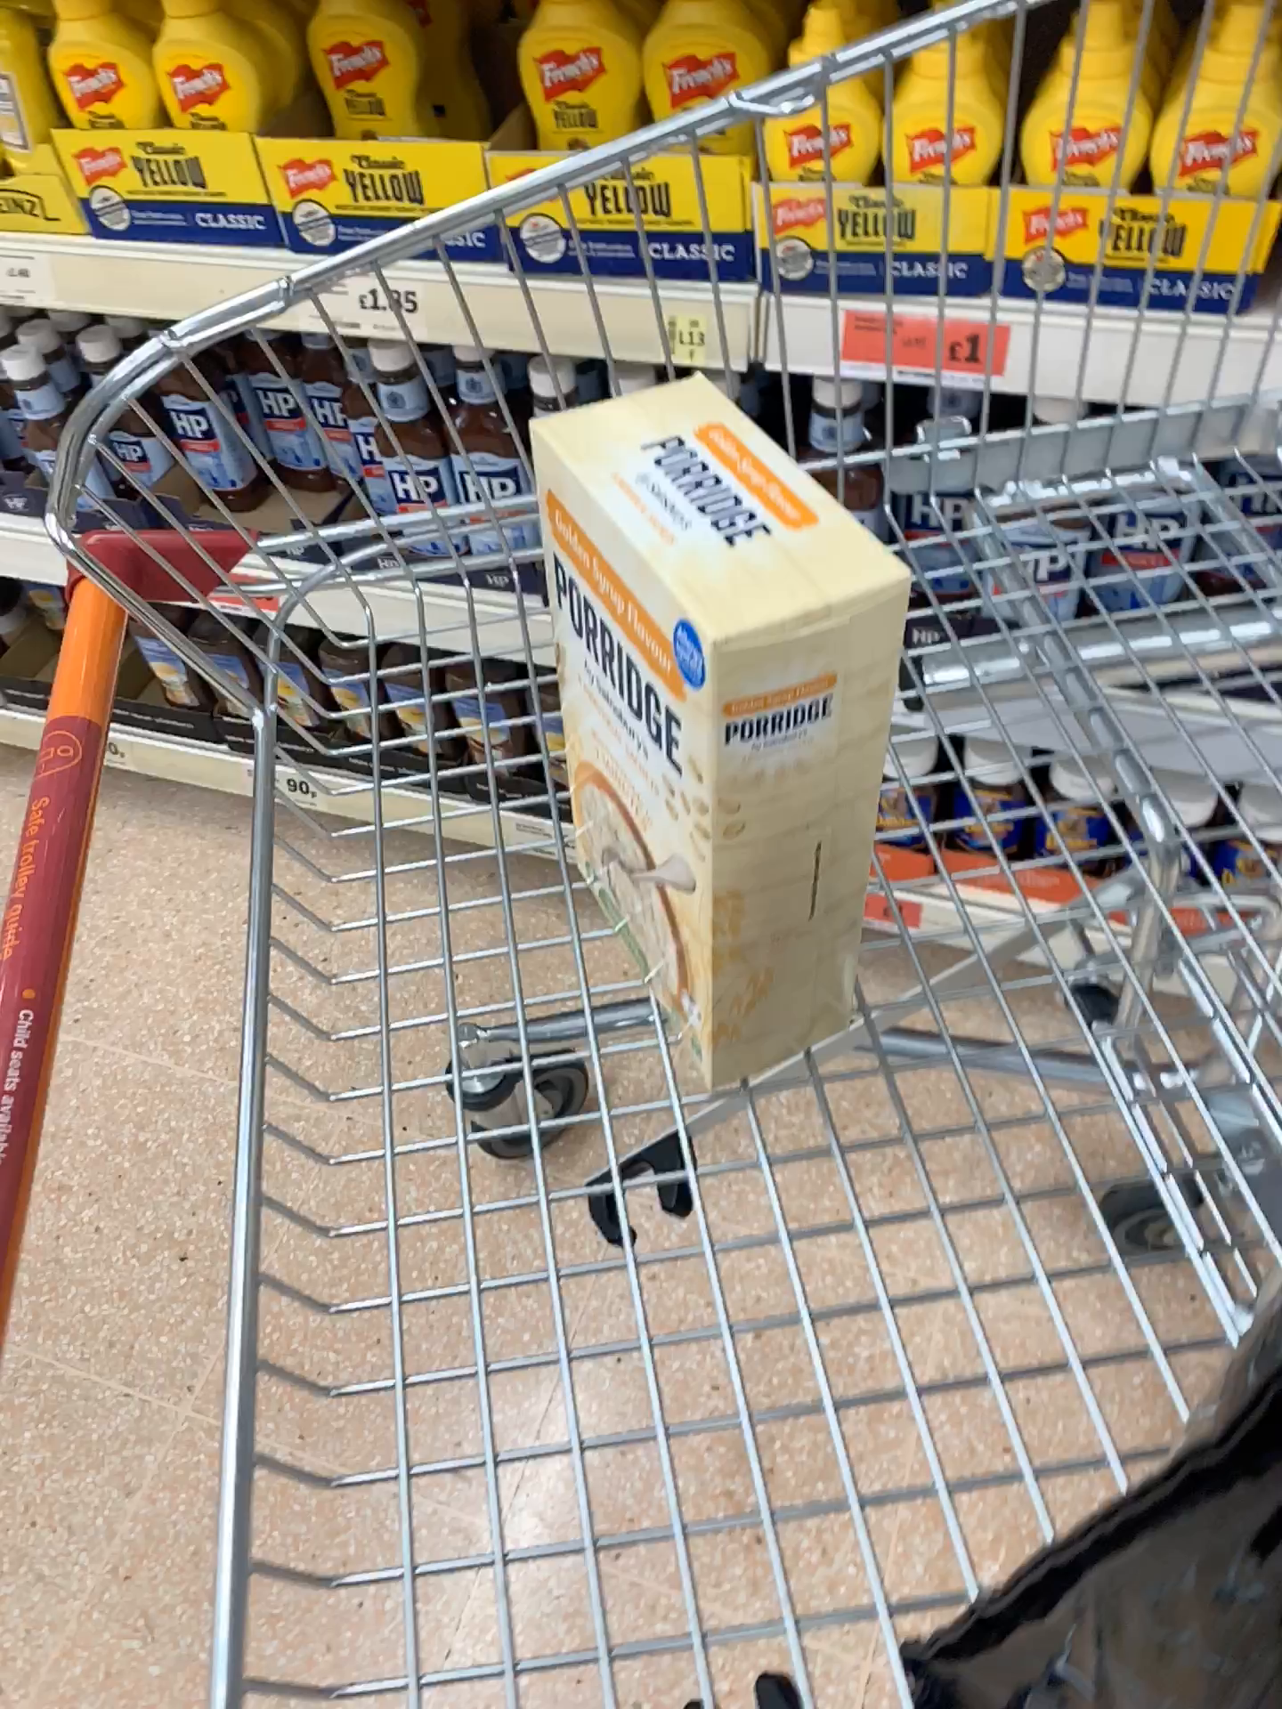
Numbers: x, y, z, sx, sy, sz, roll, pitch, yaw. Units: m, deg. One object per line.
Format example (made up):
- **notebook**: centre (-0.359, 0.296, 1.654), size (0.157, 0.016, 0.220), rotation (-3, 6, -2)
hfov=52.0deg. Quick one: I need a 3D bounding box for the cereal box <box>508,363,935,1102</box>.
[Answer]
- **cereal box**: centre (0.024, -0.034, 0.453), size (0.070, 0.208, 0.131), rotation (-21, 50, -14)
